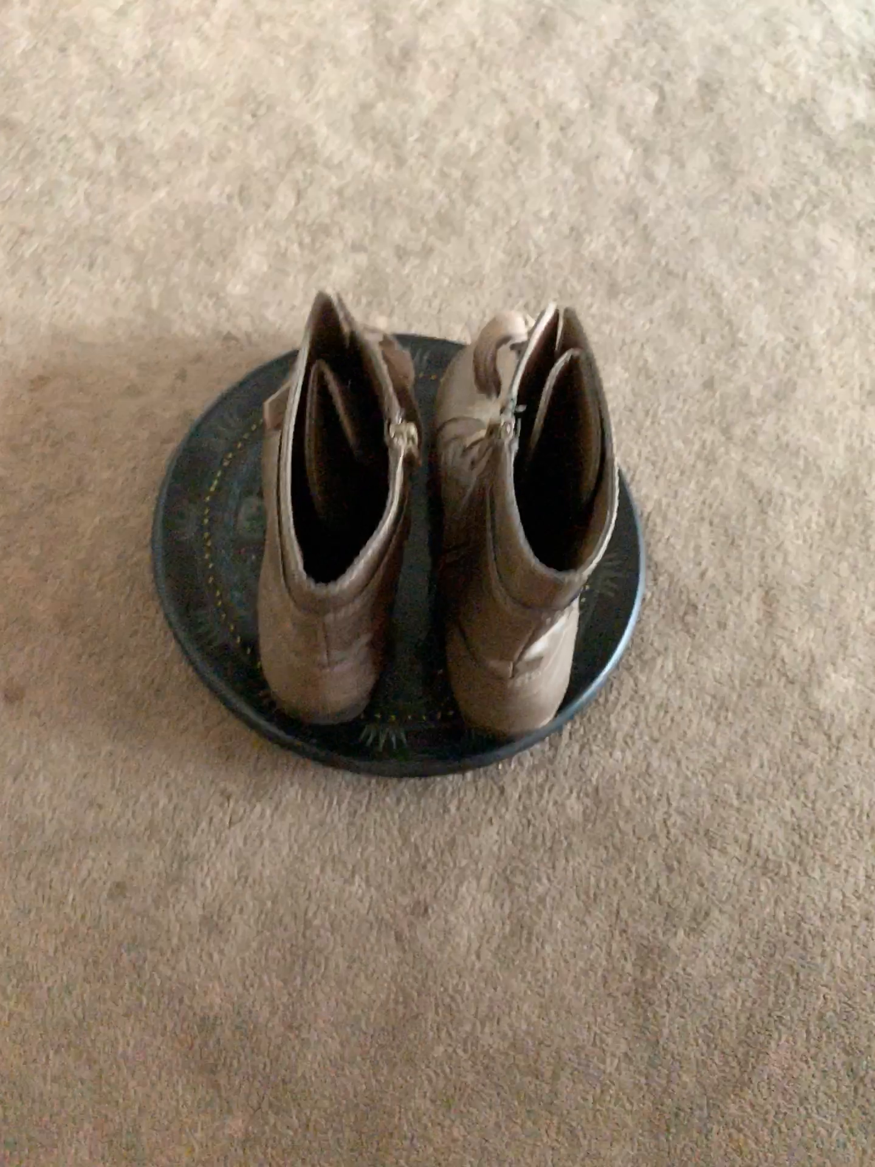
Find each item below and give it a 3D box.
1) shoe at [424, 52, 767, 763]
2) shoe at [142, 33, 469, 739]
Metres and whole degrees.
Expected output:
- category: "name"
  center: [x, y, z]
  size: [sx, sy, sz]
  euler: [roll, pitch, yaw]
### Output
- category: "shoe"
  center: [0.056, -0.068, 0.443]
  size: [0.100, 0.199, 0.271]
  euler: [4, 68, -4]
- category: "shoe"
  center: [-0.050, -0.077, 0.438]
  size: [0.100, 0.199, 0.261]
  euler: [4, 68, -4]
